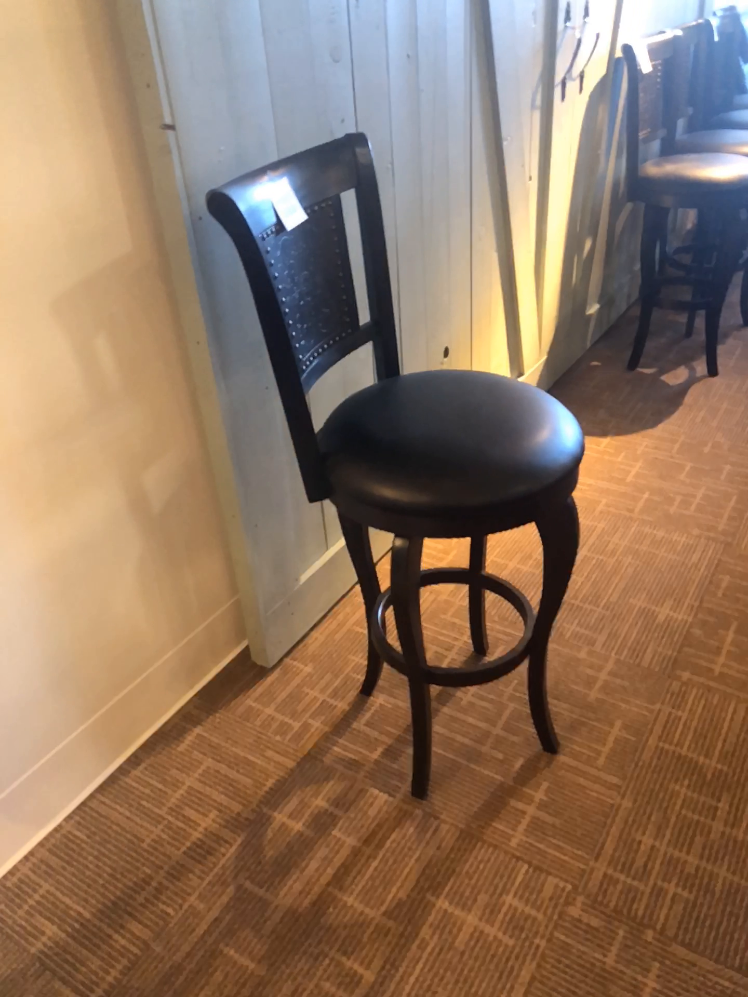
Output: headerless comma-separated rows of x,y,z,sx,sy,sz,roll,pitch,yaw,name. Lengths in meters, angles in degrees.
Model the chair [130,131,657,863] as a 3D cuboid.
0.093,-0.017,1.525,0.610,1.150,0.563,12,36,24,chair
